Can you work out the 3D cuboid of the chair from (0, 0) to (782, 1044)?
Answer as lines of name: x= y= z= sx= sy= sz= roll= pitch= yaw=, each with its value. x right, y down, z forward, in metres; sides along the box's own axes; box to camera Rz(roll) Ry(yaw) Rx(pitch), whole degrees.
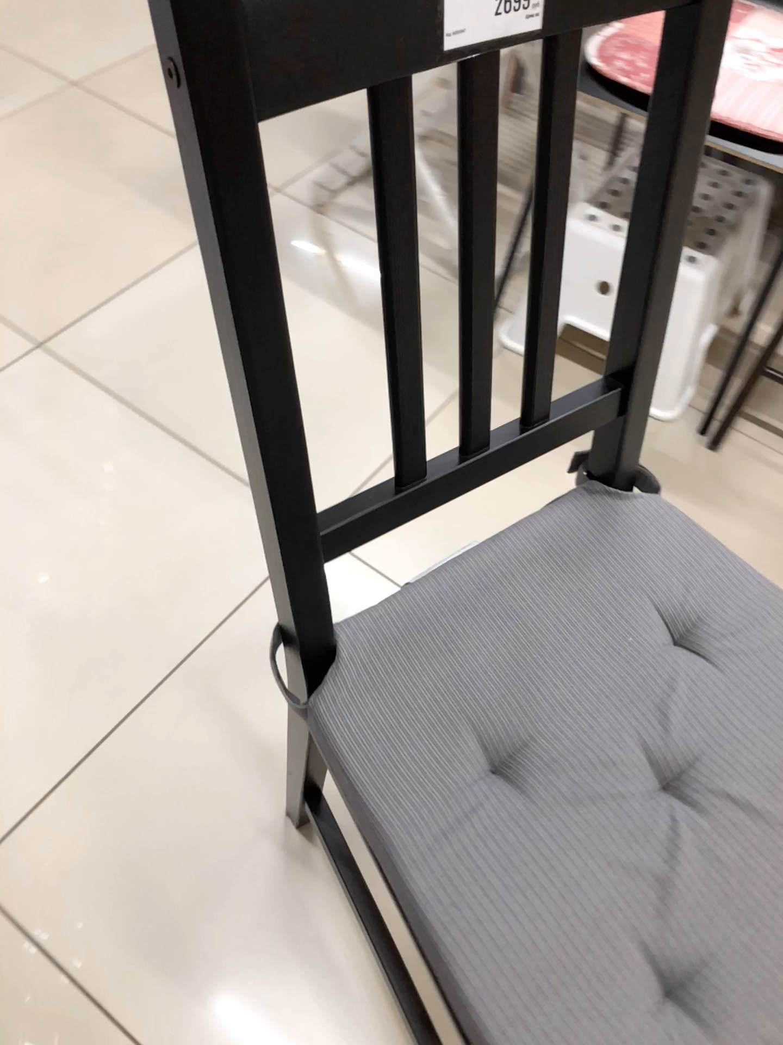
chair: x=0.123 y=0.161 z=0.588 sx=0.401 sy=0.855 sz=0.461 roll=-28 pitch=60 yaw=-23
